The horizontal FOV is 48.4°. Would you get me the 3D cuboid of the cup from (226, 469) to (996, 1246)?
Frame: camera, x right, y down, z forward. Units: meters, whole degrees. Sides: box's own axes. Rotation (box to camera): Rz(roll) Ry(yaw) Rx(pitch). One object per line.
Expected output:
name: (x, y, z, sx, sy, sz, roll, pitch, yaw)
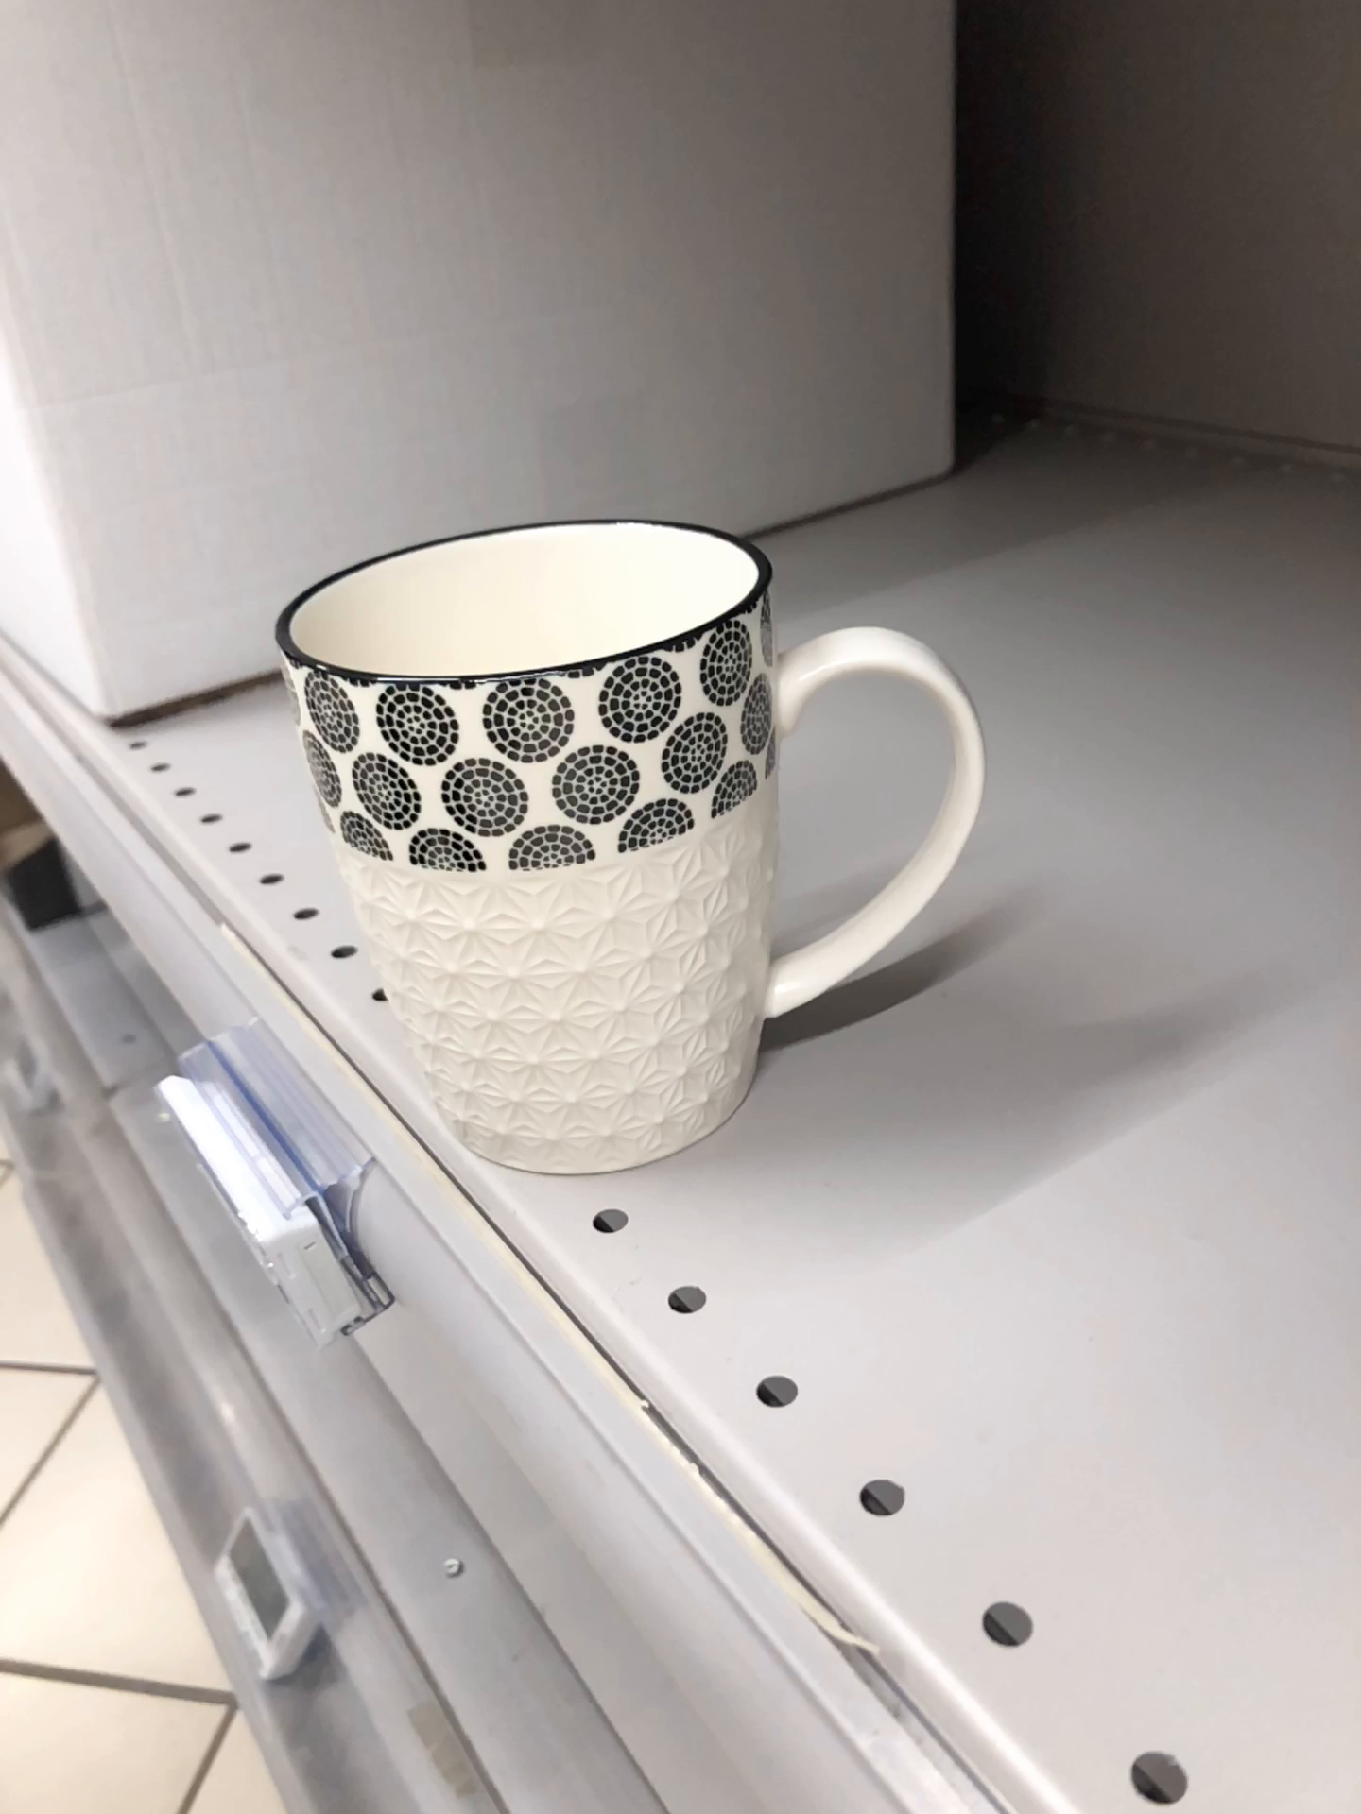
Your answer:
cup: (-0.008, -0.013, 0.272, 0.106, 0.096, 0.089, -8, 29, -1)
